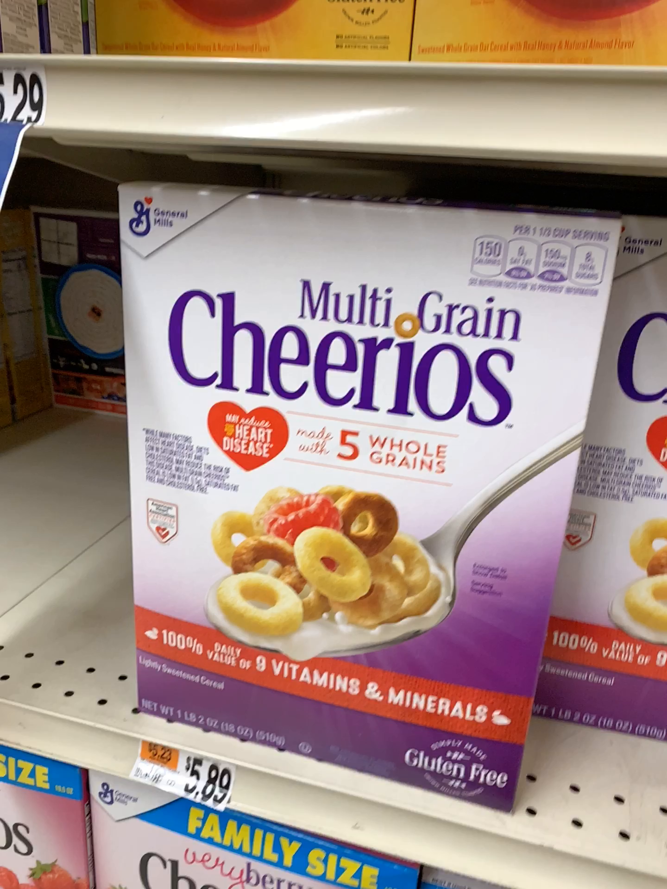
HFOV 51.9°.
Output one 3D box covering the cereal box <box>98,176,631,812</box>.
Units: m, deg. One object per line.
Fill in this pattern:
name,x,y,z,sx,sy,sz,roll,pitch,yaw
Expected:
cereal box,0.002,0.025,0.394,0.250,0.319,0.070,9,19,14
